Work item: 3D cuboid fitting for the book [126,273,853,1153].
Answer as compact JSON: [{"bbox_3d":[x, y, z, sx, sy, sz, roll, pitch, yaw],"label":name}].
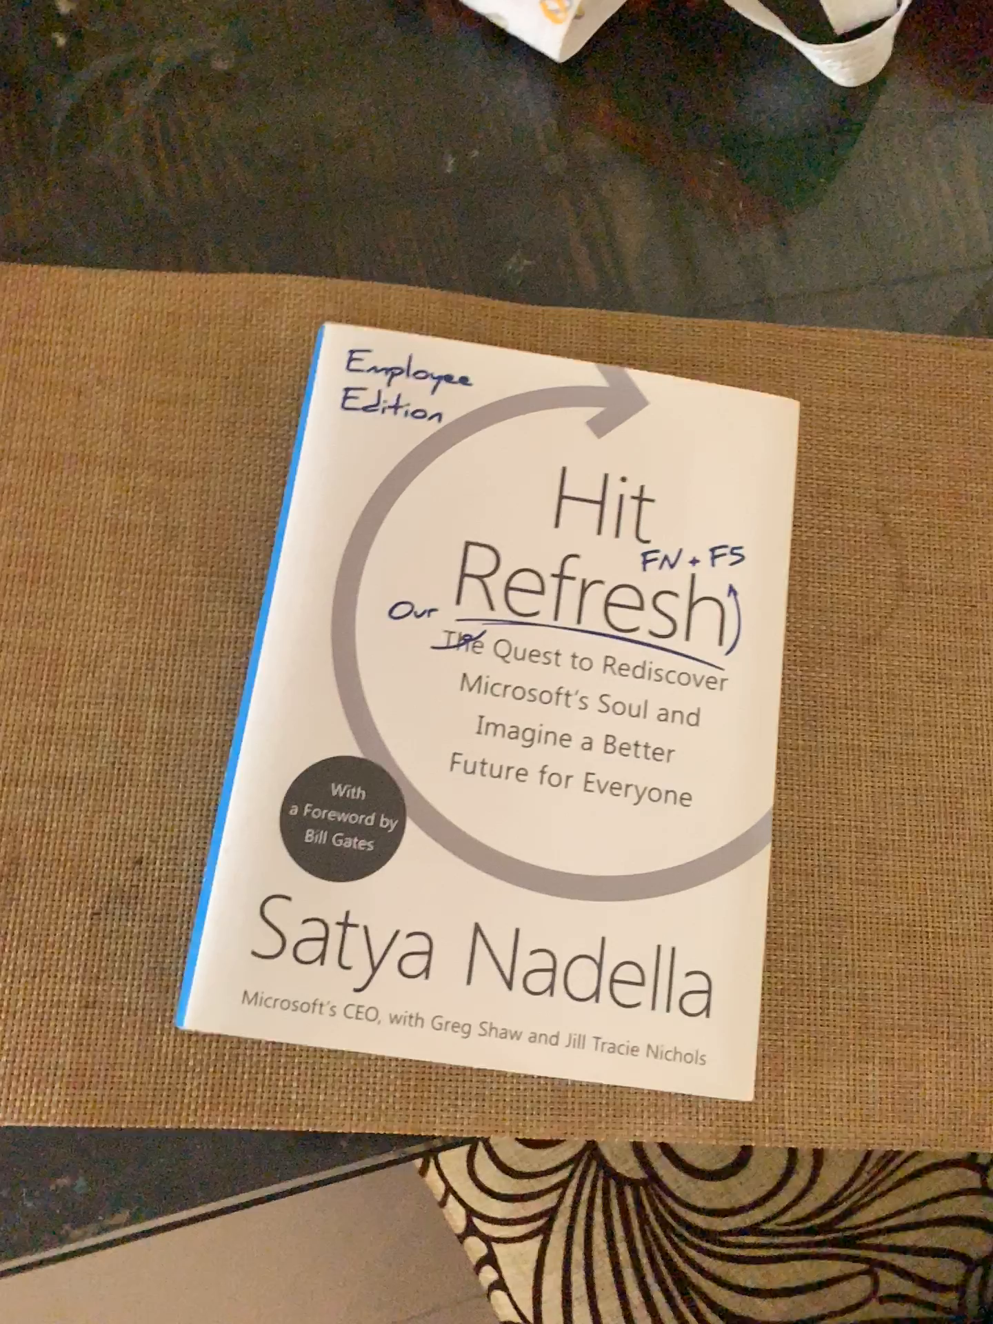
[{"bbox_3d":[0.009,0.008,0.337,0.190,0.040,0.250,10,75,-2],"label":"book"}]
